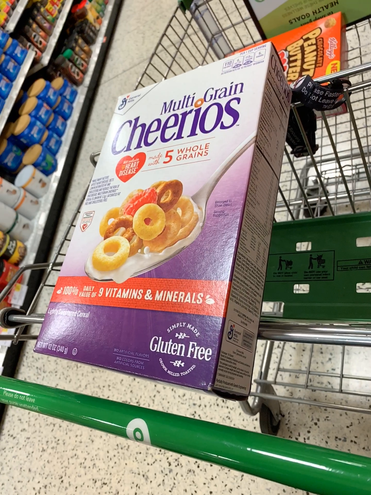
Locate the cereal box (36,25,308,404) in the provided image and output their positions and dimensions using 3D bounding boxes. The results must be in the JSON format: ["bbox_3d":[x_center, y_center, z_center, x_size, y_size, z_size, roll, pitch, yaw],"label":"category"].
[{"bbox_3d":[-0.005,-0.039,0.379,0.201,0.069,0.321,-3,65,35],"label":"cereal box"}]
